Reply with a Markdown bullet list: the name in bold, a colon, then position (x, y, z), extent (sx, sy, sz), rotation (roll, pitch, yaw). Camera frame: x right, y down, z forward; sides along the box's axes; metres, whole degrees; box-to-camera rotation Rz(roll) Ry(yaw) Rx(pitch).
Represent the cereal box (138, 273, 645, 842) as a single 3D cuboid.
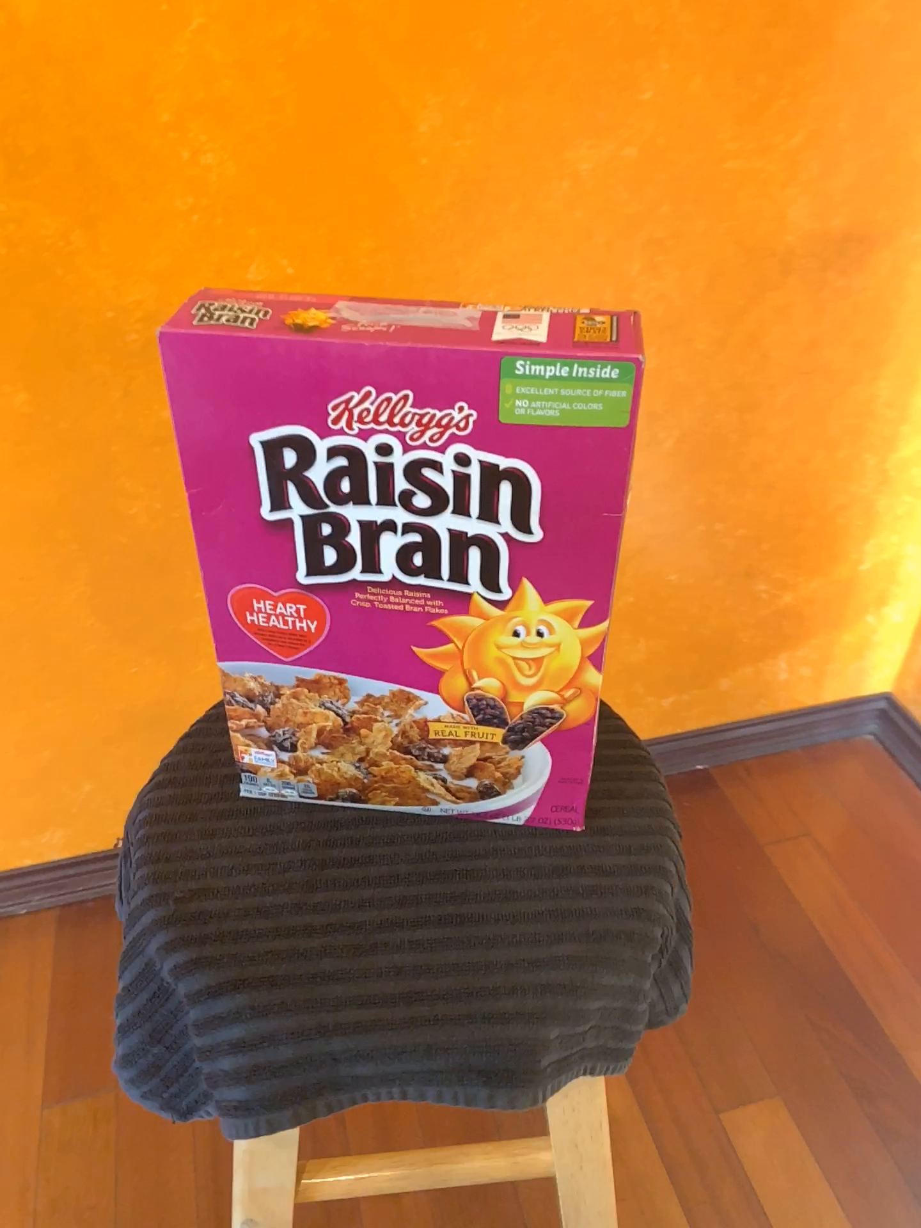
- **cereal box**: position (-0.028, -0.012, 0.479), extent (0.200, 0.288, 0.060), rotation (4, 37, 5)
